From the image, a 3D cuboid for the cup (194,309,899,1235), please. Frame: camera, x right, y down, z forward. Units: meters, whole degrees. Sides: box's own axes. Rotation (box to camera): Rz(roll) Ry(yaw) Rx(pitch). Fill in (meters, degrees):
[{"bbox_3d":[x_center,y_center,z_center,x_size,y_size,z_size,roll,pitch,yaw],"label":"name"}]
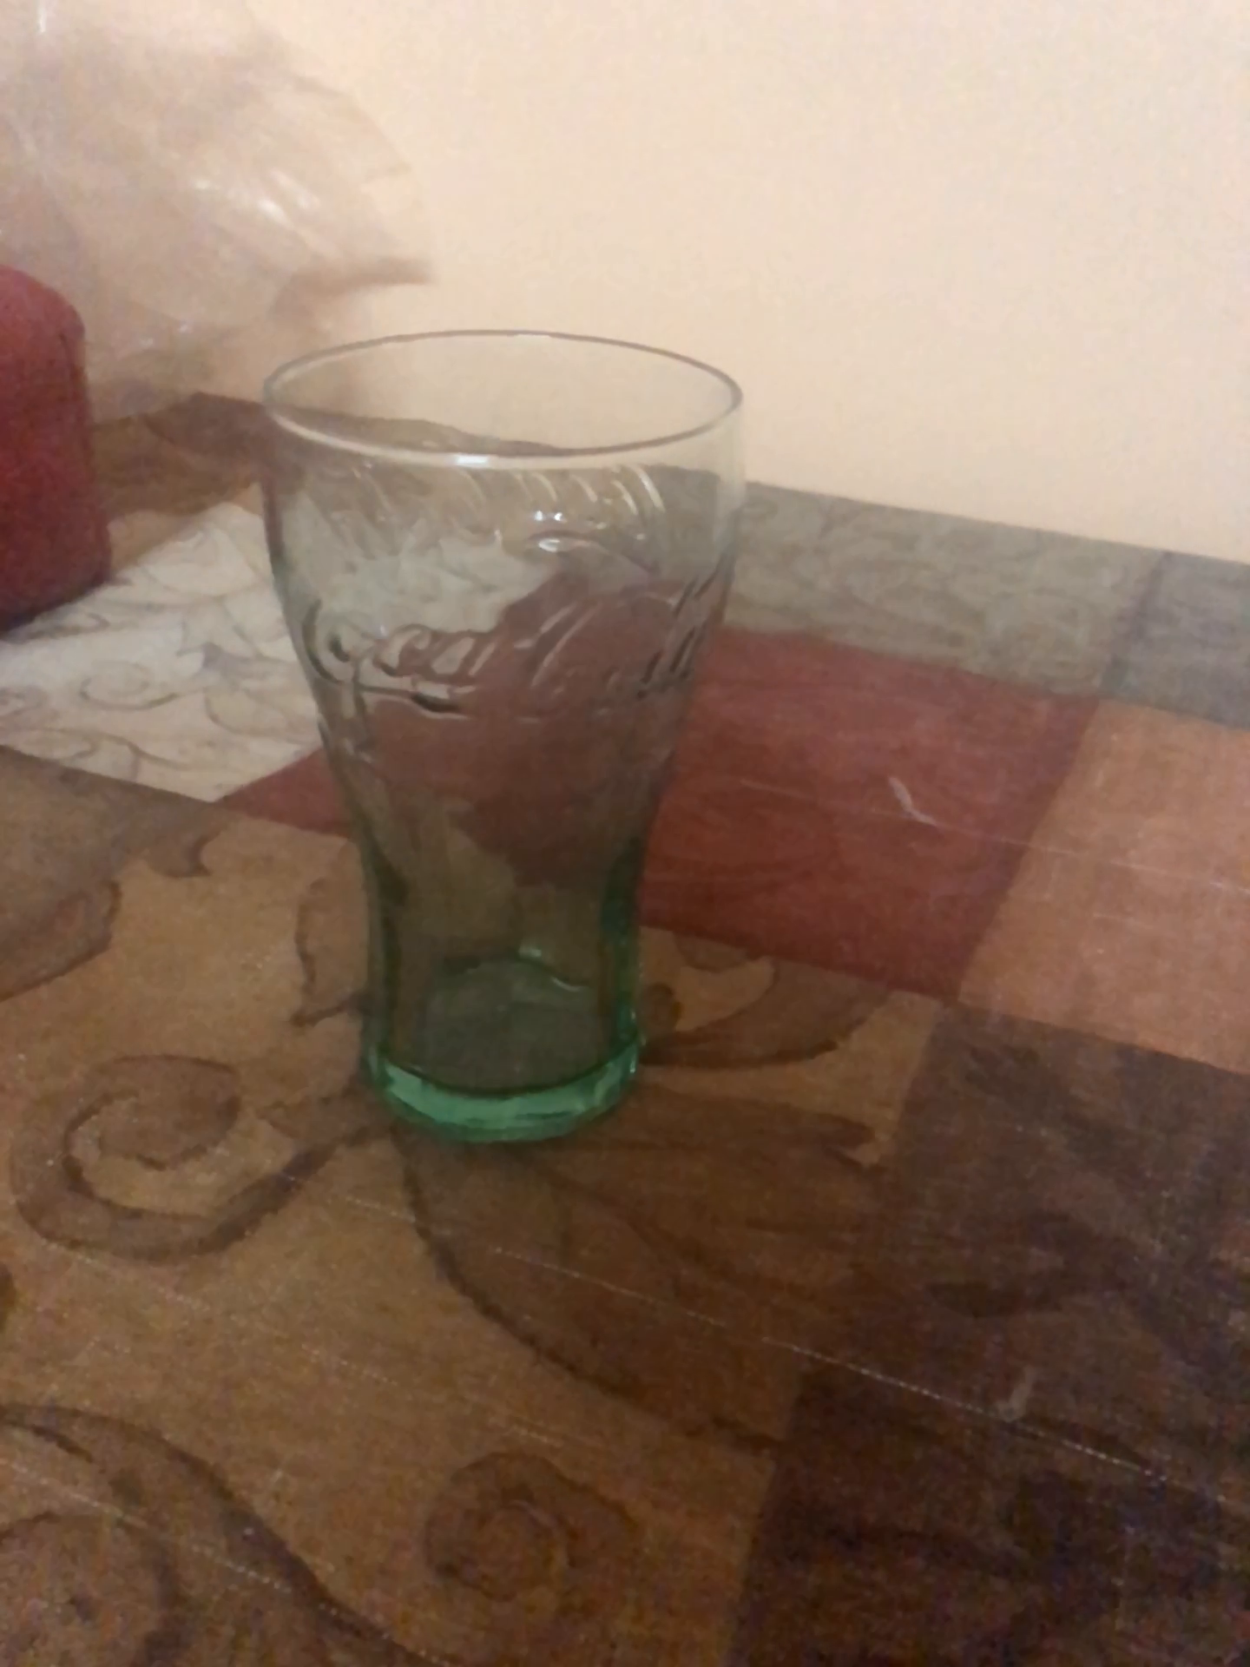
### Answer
[{"bbox_3d":[-0.017,-0.014,0.212,0.070,0.110,0.070,3,31,-2],"label":"cup"}]
